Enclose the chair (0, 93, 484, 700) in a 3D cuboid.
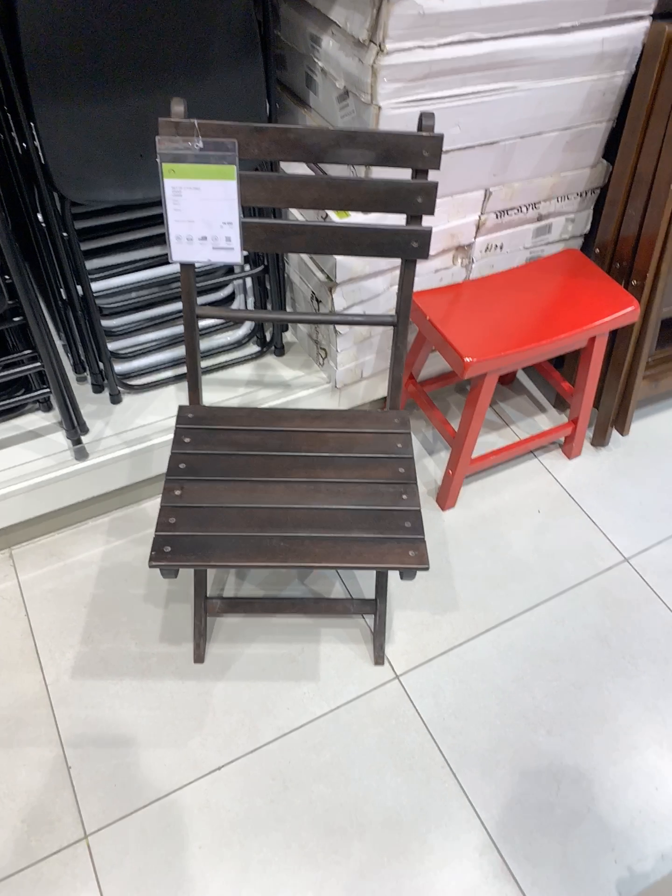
[{"bbox_3d":[-0.109,-0.009,1.038,0.420,0.797,0.482,2,49,-3],"label":"chair"}]
